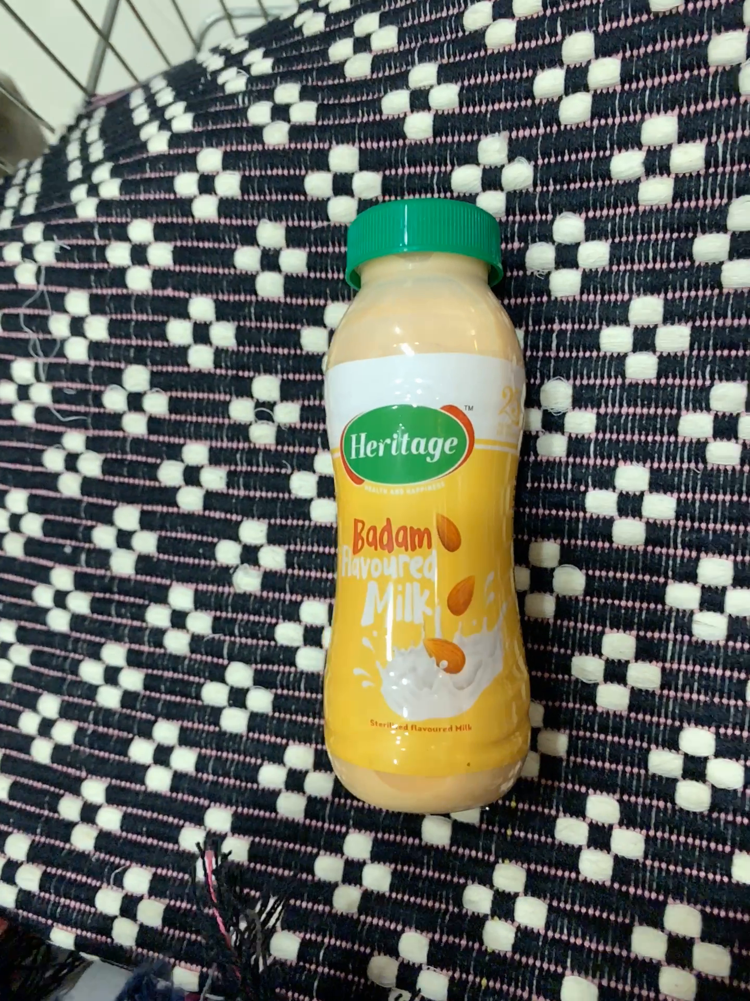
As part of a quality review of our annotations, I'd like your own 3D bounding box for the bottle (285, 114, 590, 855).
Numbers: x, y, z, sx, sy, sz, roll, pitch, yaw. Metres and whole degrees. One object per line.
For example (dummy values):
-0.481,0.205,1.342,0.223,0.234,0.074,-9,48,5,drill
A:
0.018,-0.005,0.184,0.060,0.040,0.150,1,84,13,bottle
